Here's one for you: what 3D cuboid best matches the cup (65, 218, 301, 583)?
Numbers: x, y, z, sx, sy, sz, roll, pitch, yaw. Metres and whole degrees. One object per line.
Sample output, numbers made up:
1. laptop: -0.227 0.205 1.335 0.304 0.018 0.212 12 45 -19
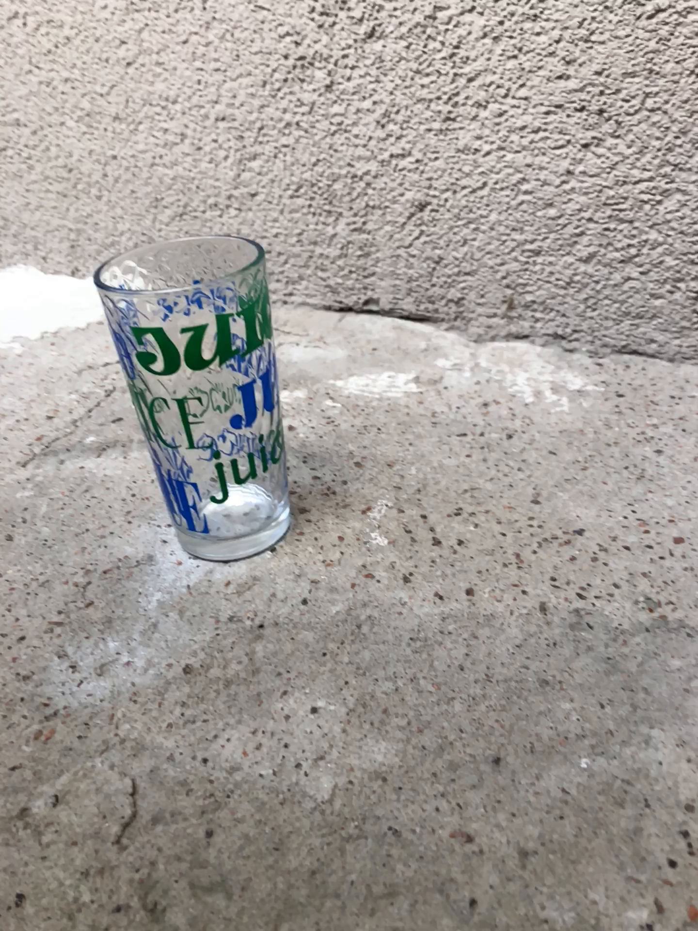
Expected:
1. cup: -0.063 -0.026 0.318 0.067 0.125 0.066 -3 33 2
